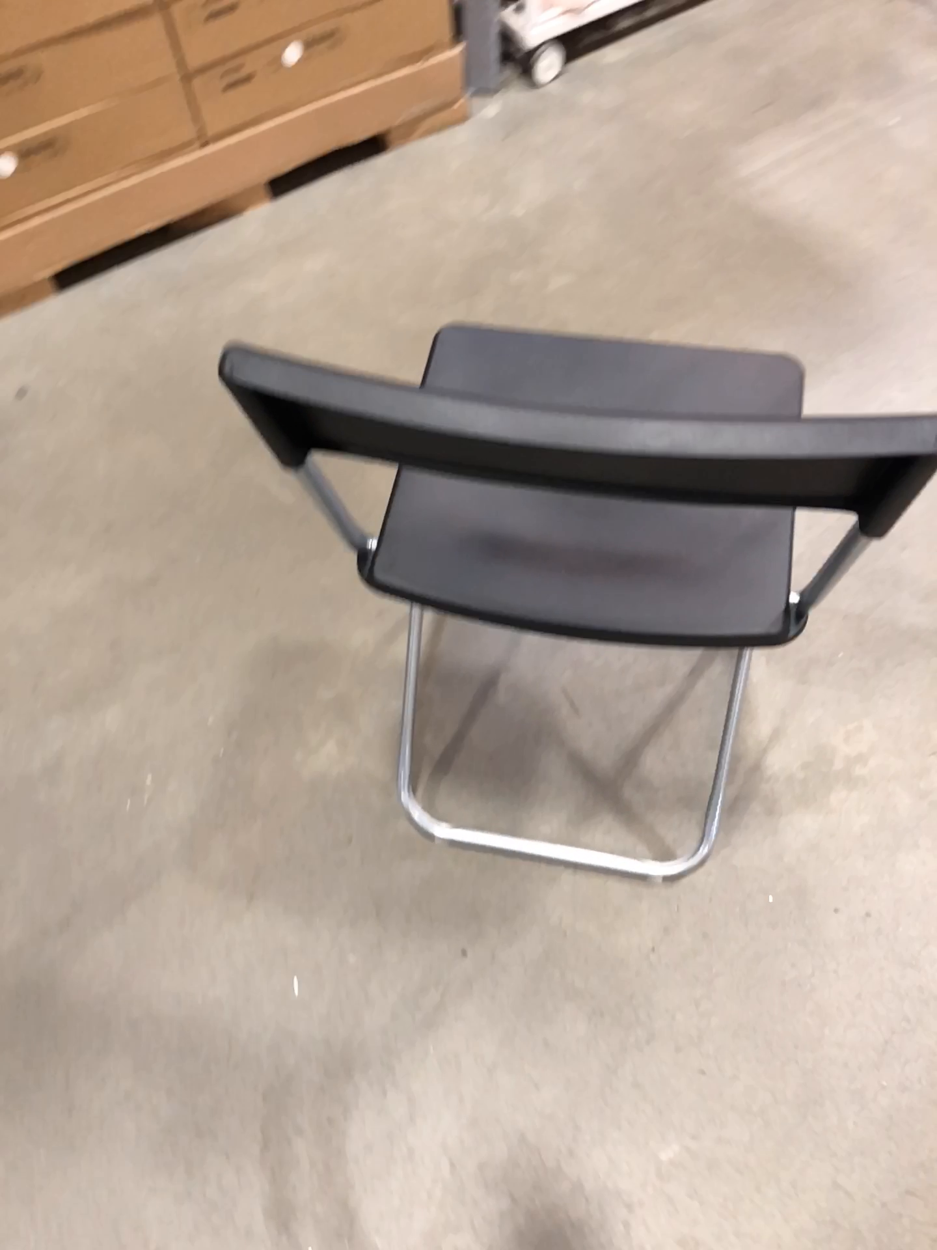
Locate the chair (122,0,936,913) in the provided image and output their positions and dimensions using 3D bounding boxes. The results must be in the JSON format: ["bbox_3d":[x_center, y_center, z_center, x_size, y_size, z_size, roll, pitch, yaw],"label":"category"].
[{"bbox_3d":[0.104,-0.114,0.960,0.460,0.758,0.461,8,58,9],"label":"chair"}]
